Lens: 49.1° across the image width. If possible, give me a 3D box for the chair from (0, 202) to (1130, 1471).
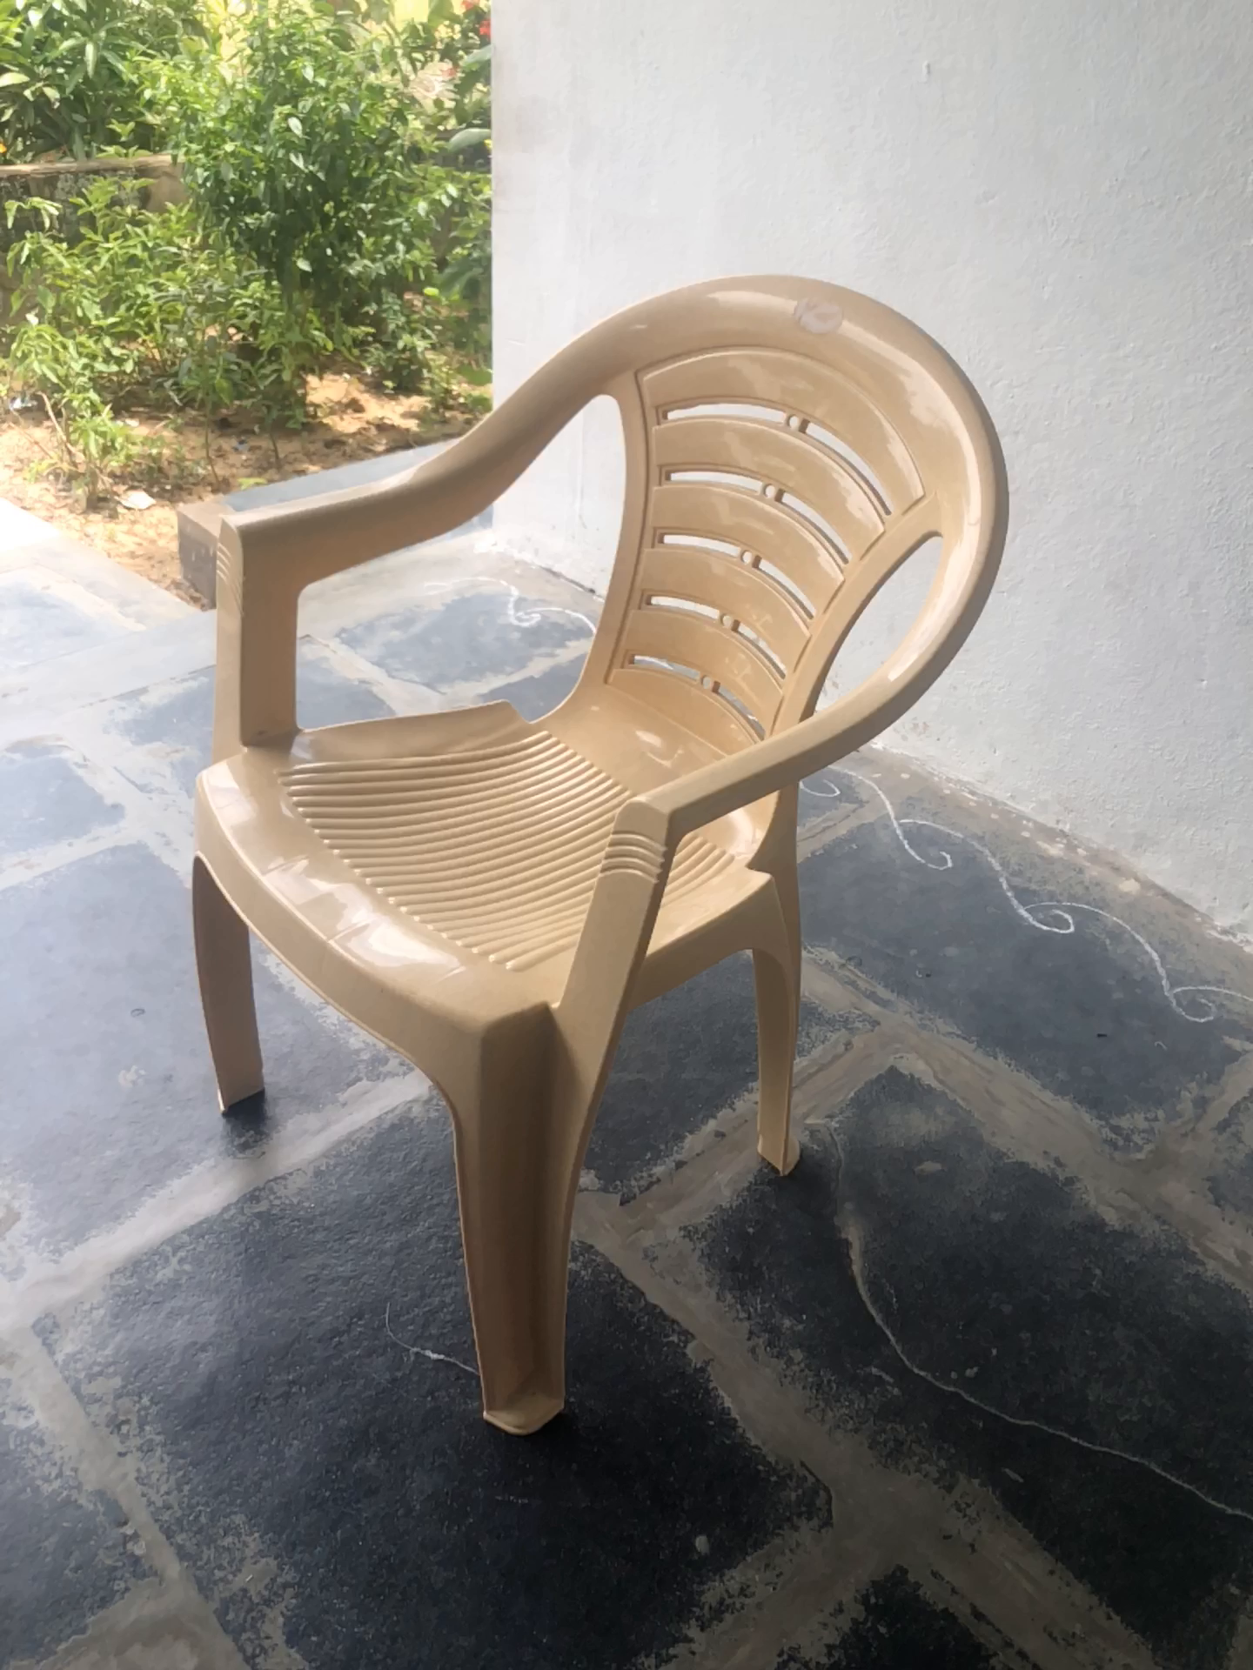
[{"bbox_3d":[-0.086,-0.070,1.217,0.620,0.736,0.653,31,43,32],"label":"chair"}]
